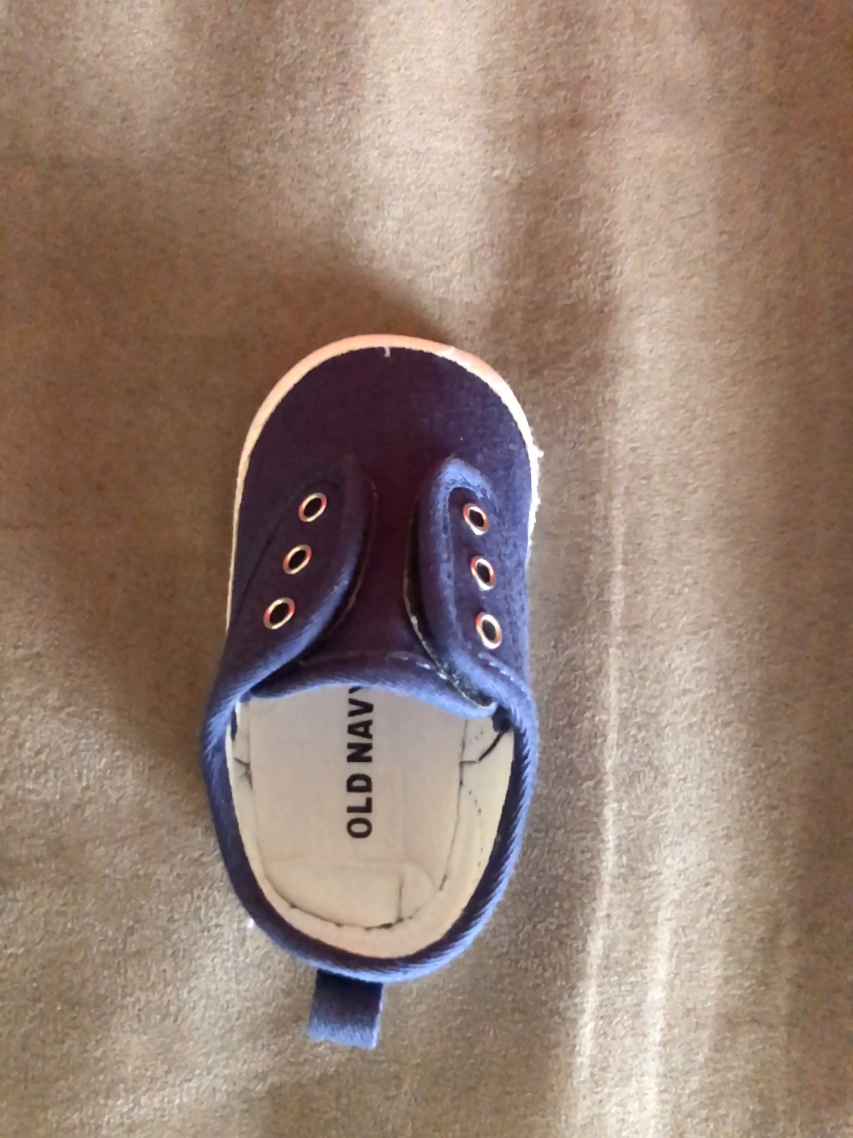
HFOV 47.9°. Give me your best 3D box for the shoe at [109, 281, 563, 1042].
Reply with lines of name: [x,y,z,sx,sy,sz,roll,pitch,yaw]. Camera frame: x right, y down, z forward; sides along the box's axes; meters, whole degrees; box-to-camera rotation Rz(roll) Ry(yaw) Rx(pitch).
shoe: [-0.014,0.014,0.174,0.060,0.060,0.110,5,92,1]
